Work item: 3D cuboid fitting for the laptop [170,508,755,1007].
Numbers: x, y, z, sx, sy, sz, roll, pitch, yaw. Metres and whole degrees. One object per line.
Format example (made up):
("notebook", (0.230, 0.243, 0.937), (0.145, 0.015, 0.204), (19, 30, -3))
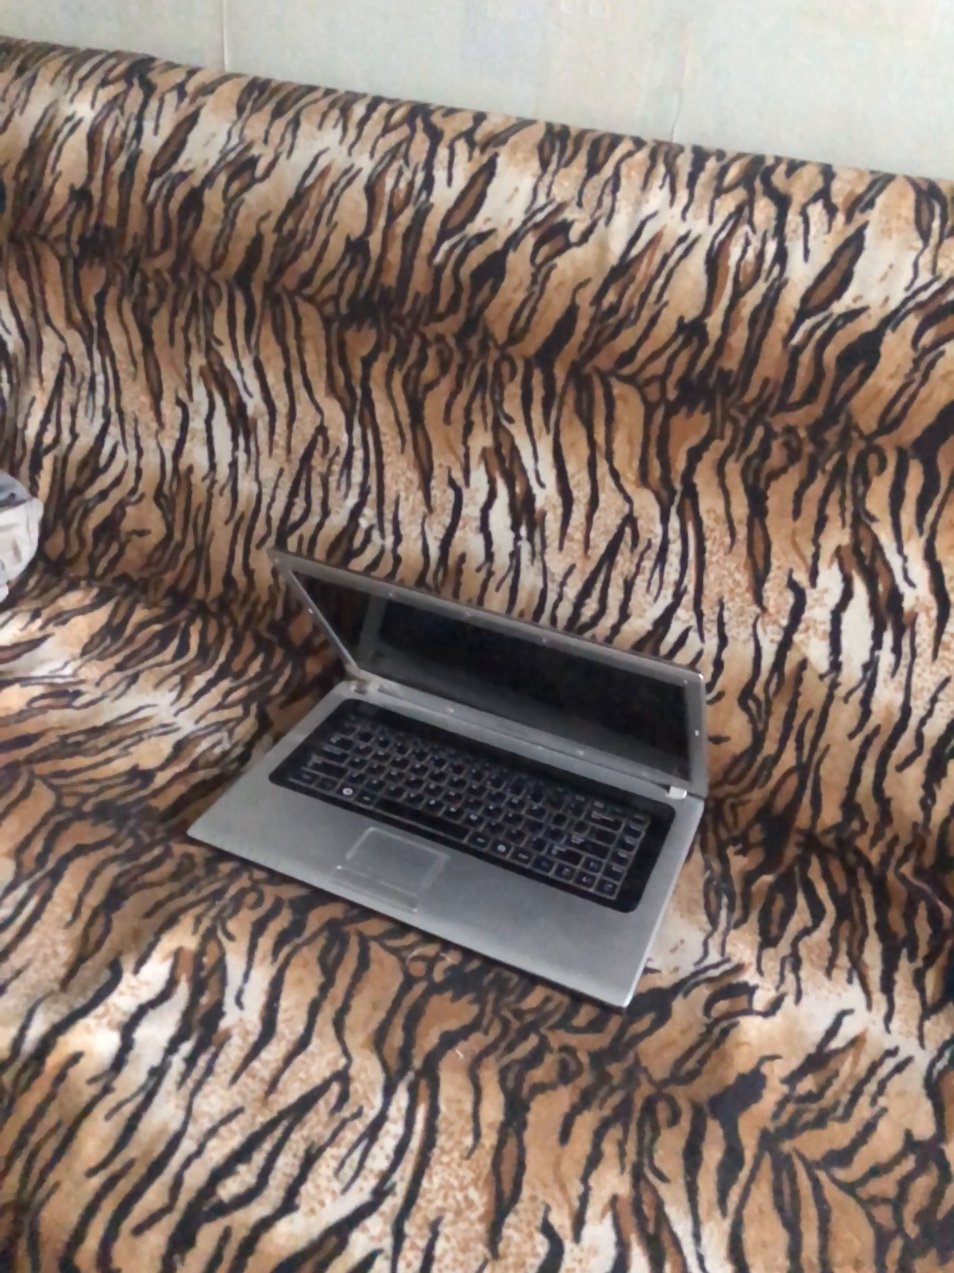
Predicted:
("laptop", (-0.008, 0.066, 0.789), (0.350, 0.179, 0.239), (17, 33, 18))
